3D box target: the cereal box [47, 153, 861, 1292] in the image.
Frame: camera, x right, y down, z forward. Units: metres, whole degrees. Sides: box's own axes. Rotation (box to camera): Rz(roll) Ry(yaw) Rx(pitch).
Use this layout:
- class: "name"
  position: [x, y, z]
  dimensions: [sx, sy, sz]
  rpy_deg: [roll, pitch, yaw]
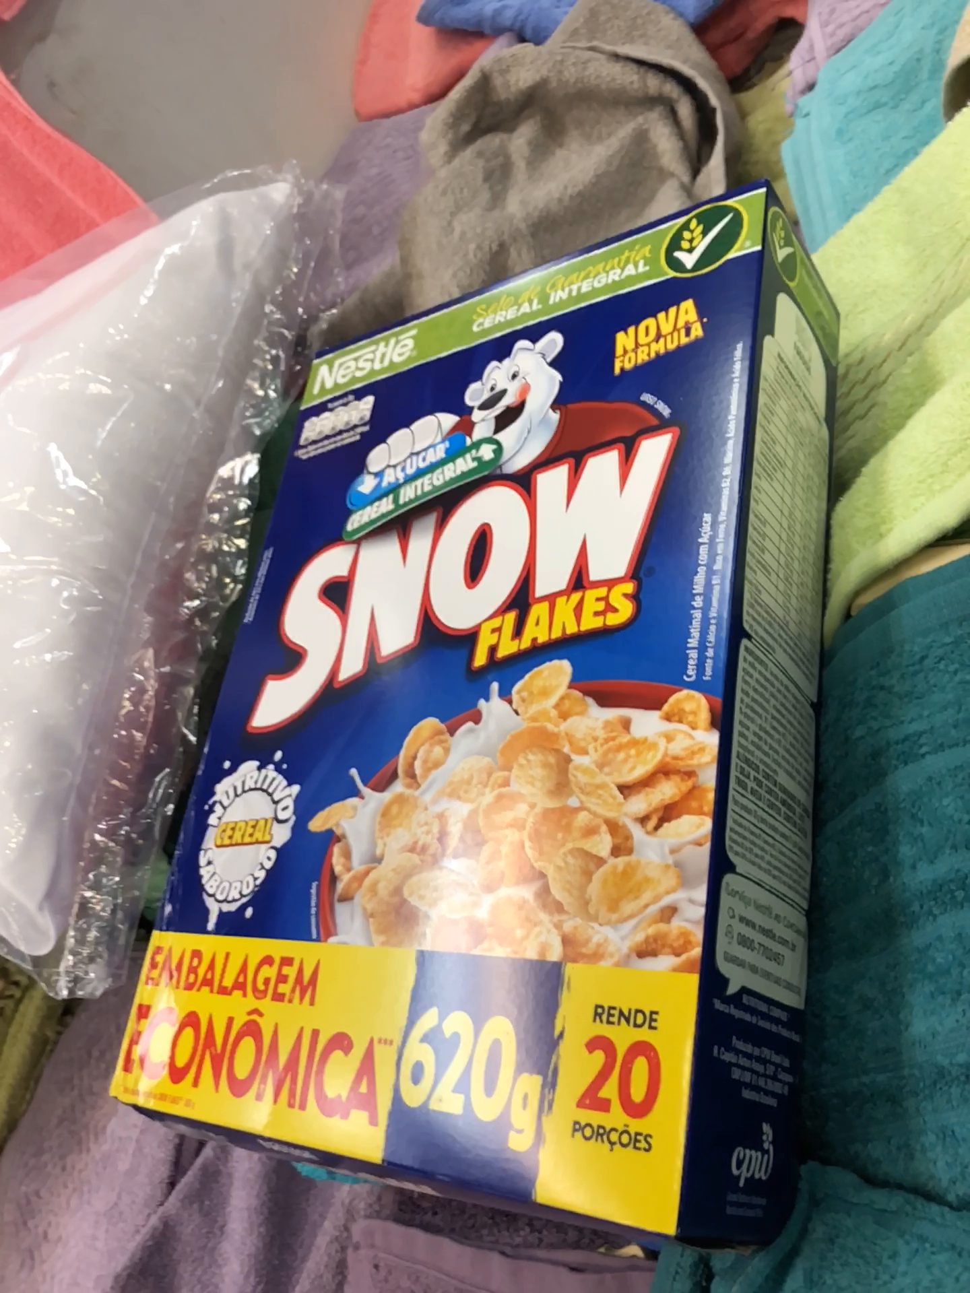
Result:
- class: "cereal box"
  position: [-0.005, 0.014, 0.354]
  dimensions: [0.221, 0.070, 0.301]
  rpy_deg: [-9, 59, 39]
